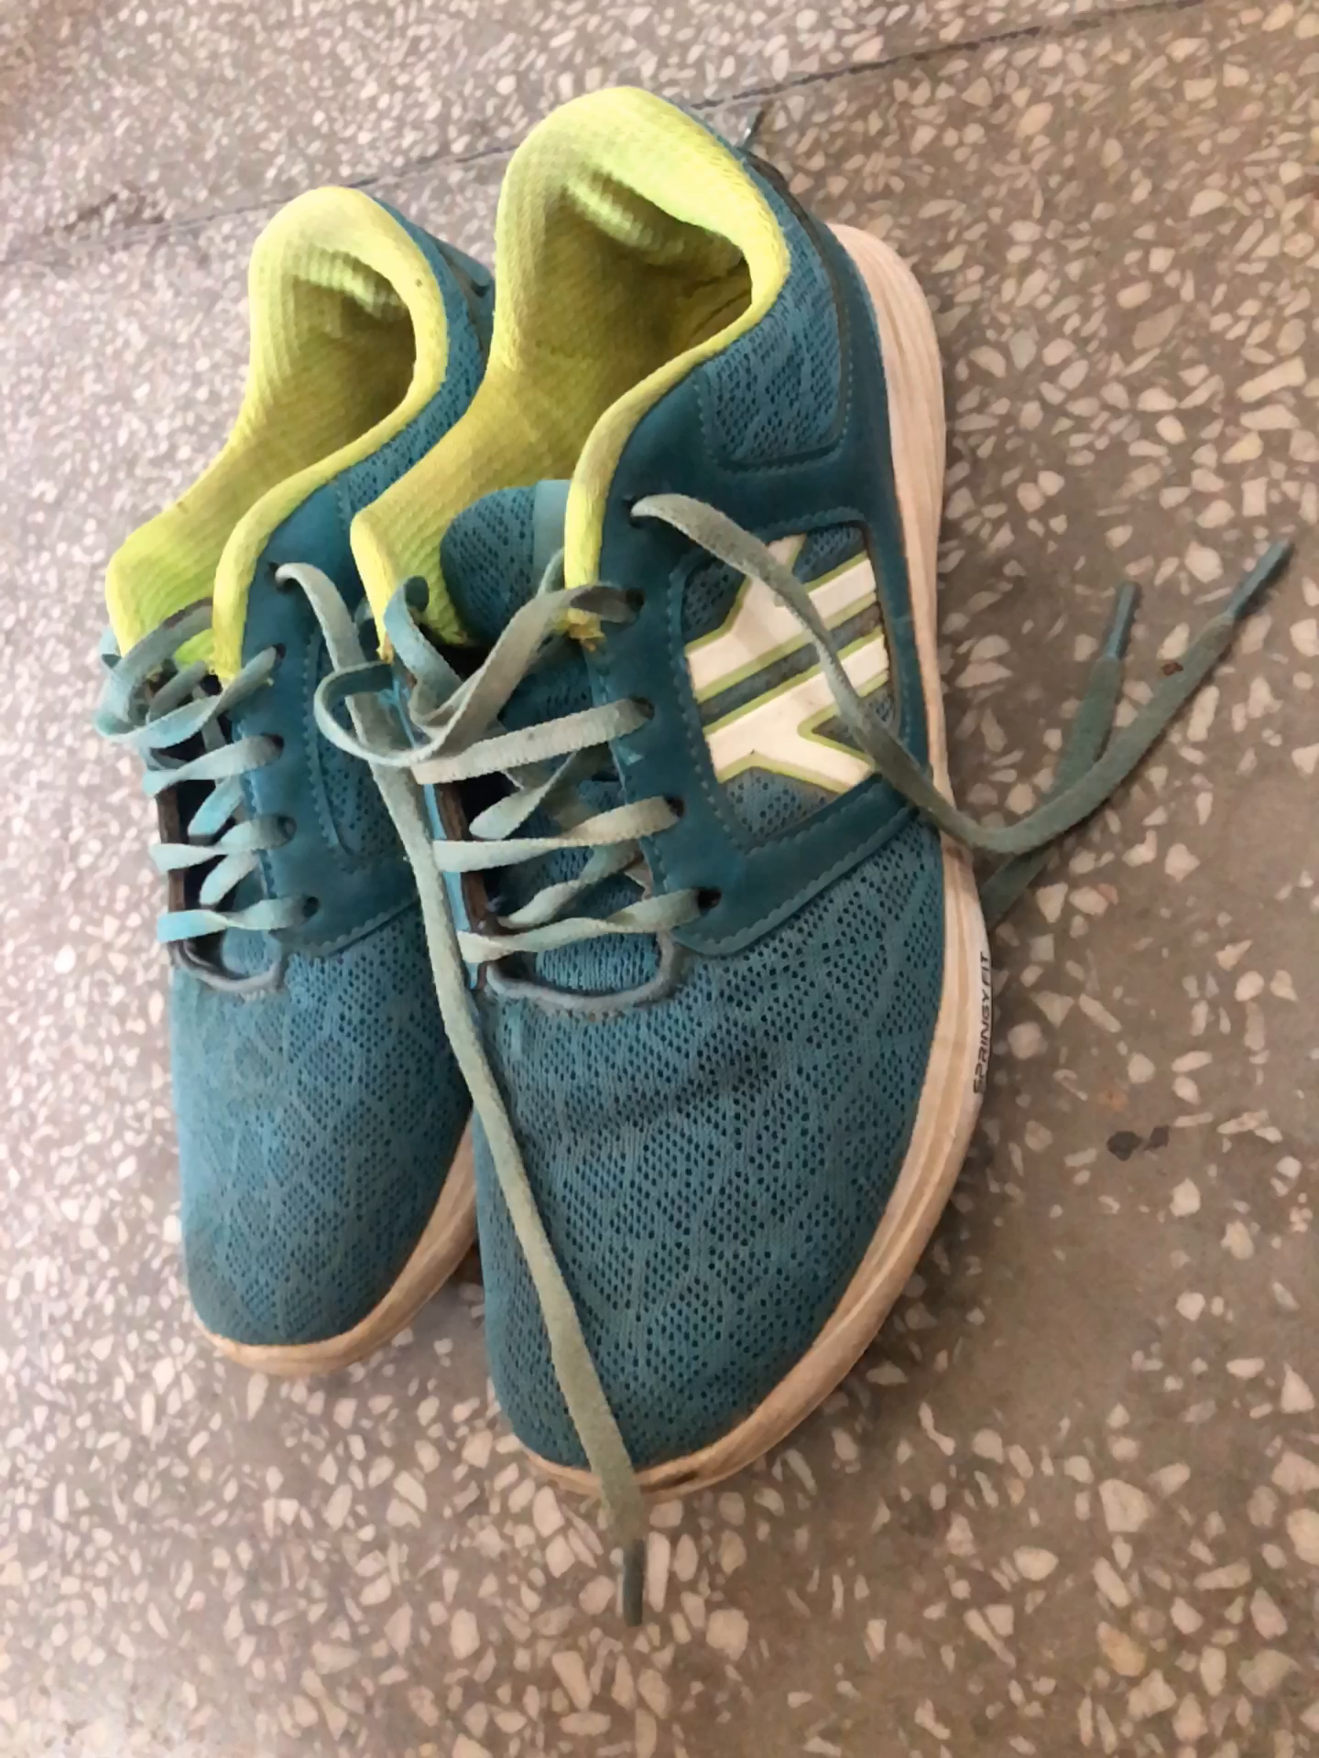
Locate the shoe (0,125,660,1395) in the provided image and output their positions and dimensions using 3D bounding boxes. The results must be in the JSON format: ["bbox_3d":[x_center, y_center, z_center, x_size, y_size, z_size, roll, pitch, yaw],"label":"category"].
[{"bbox_3d":[-0.077,-0.019,0.313,0.091,0.091,0.230,-5,70,36],"label":"shoe"}]

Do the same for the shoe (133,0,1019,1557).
[{"bbox_3d":[-0.002,-0.018,0.254,0.095,0.088,0.229,-7,69,35],"label":"shoe"}]
